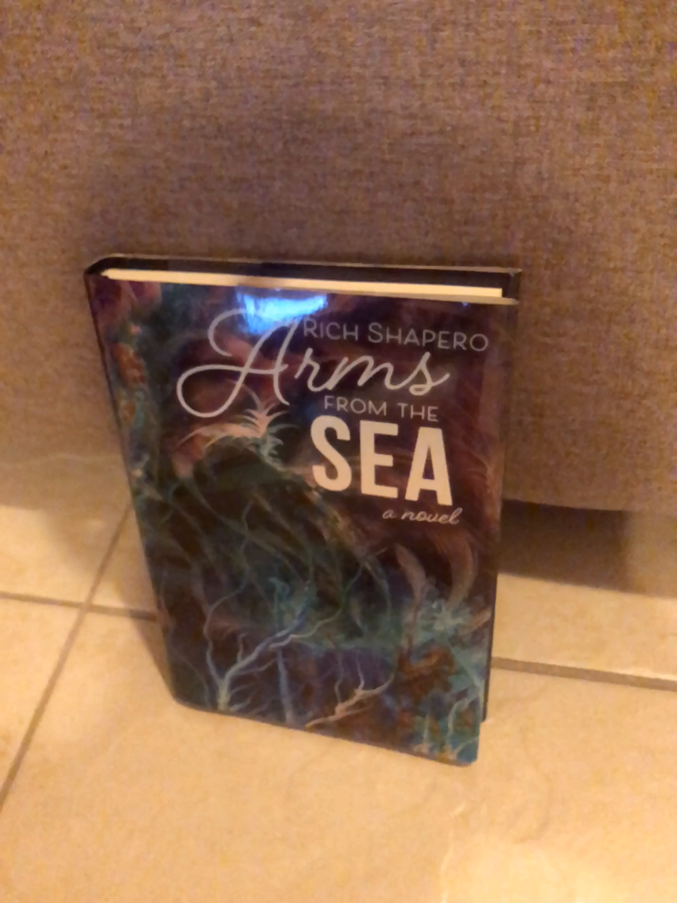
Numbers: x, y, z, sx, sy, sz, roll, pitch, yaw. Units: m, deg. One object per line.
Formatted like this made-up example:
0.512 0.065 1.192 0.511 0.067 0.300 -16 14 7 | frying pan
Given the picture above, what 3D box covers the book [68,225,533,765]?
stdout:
-0.011 0.027 0.316 0.156 0.227 0.030 7 32 14 | book
